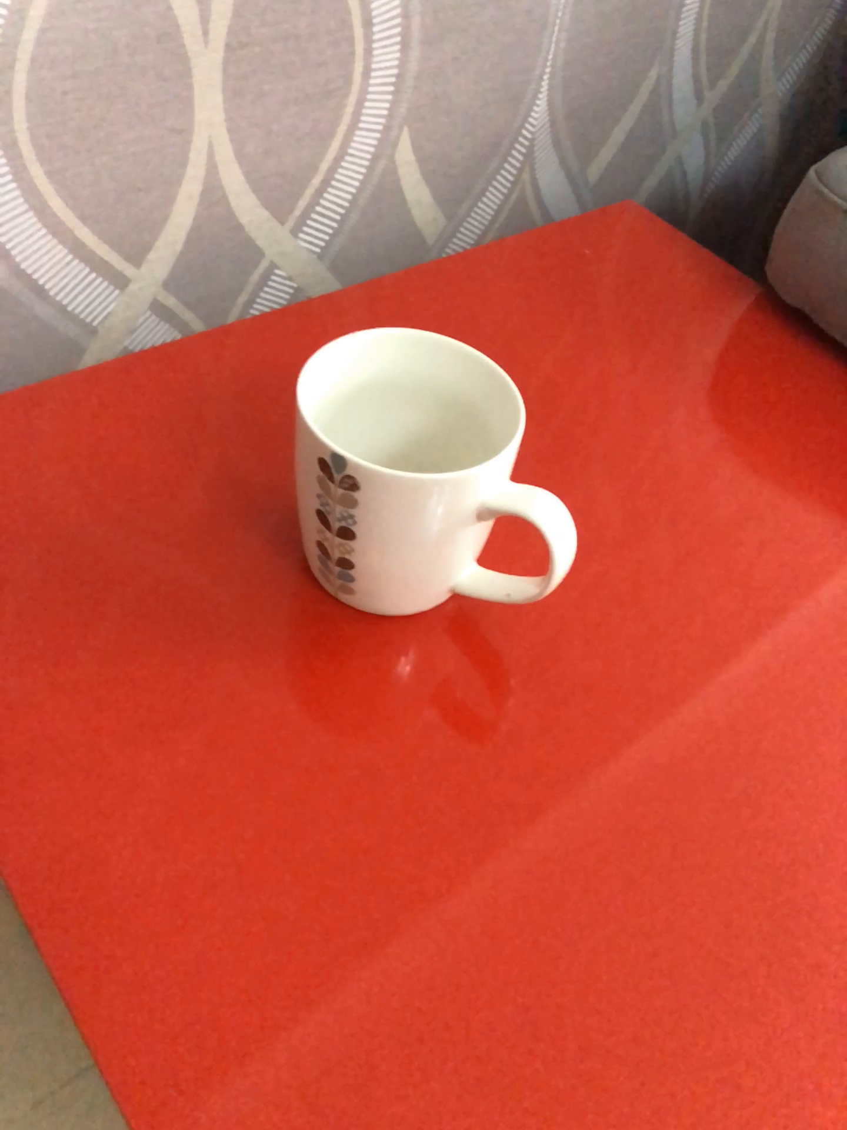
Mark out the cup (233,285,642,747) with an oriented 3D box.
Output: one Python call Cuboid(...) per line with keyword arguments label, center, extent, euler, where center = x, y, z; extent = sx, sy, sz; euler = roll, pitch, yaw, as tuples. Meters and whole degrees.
Cuboid(label="cup", center=(-0.001, -0.021, 0.385), extent=(0.120, 0.119, 0.090), euler=(33, 51, 19))
